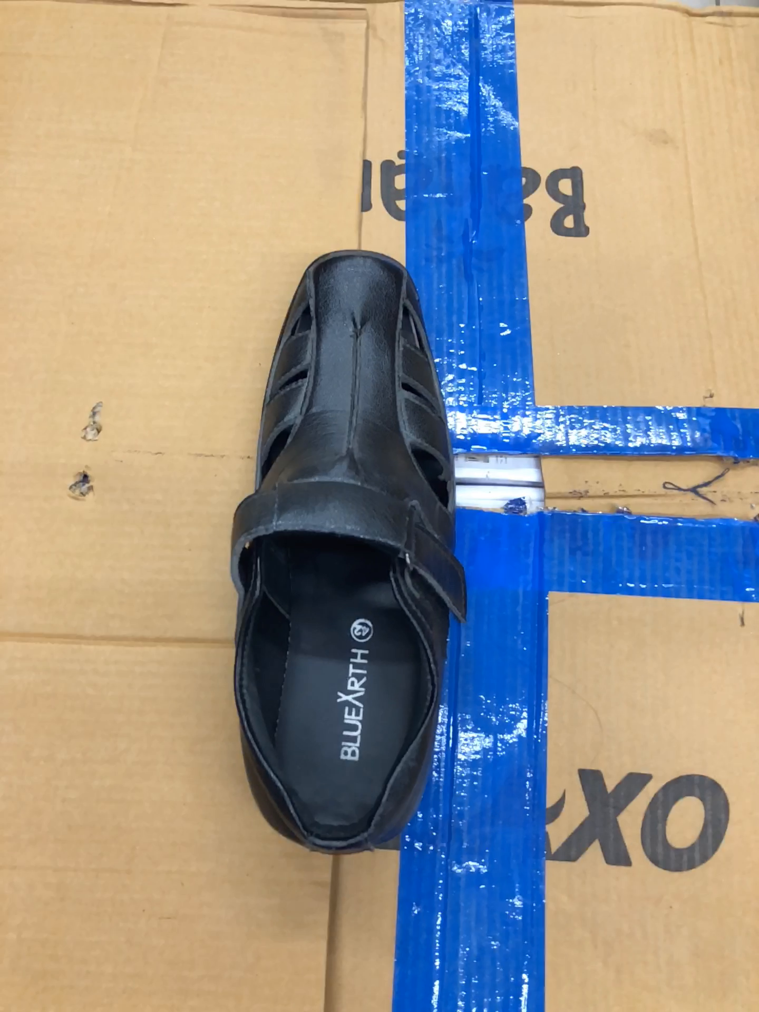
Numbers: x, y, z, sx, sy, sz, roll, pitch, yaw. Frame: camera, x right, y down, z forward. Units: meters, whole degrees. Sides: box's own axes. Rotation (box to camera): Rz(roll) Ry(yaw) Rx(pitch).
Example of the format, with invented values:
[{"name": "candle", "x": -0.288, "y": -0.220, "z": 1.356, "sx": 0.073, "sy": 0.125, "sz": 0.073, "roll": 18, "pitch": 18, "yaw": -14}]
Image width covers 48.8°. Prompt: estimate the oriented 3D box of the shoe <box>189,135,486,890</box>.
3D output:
[{"name": "shoe", "x": -0.014, "y": -0.003, "z": 0.372, "sx": 0.100, "sy": 0.097, "sz": 0.304, "roll": 0, "pitch": 74, "yaw": -1}]
